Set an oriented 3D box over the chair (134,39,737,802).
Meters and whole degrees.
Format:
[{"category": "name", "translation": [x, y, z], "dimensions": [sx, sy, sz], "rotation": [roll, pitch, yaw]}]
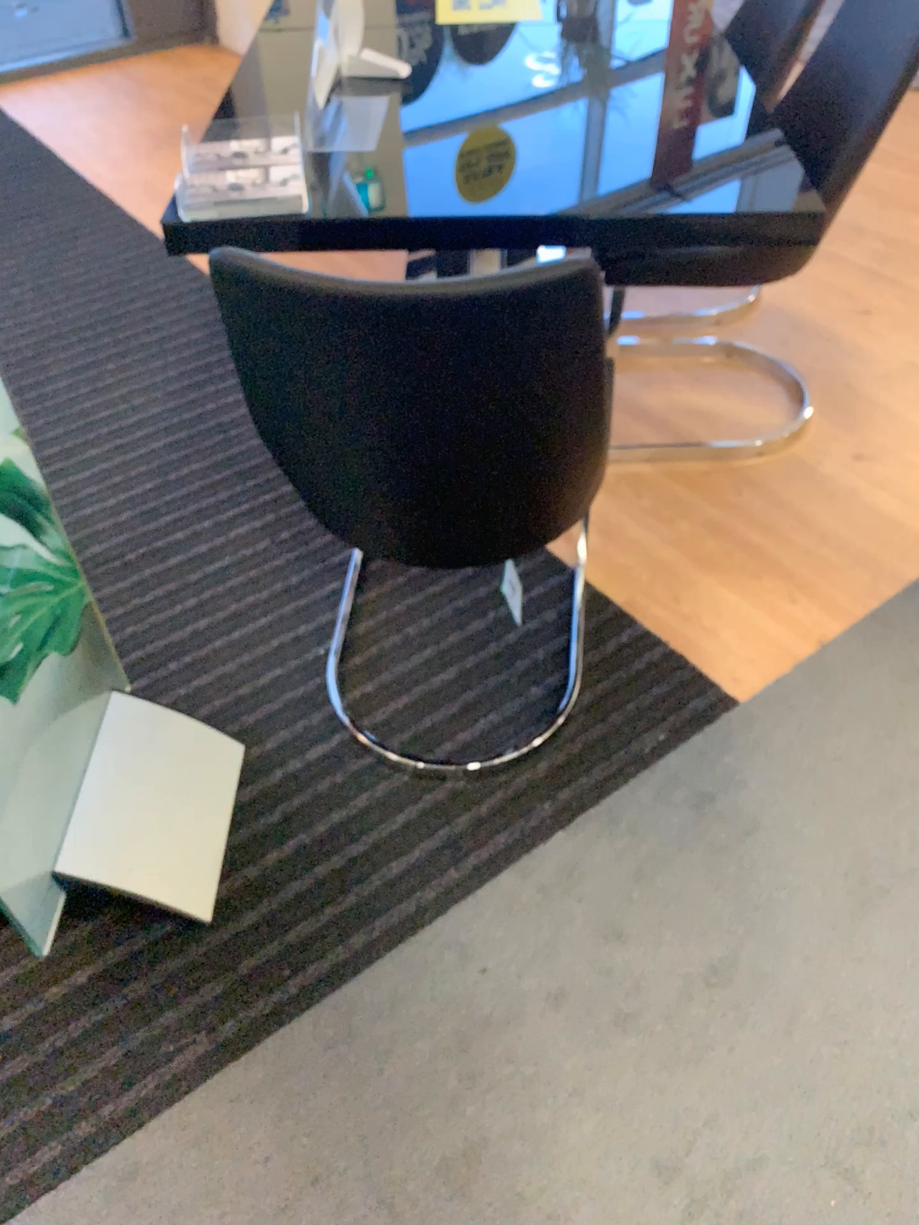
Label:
[{"category": "chair", "translation": [0.021, -0.250, 1.326], "dimensions": [0.530, 0.812, 0.614], "rotation": [5, 46, 7]}]
